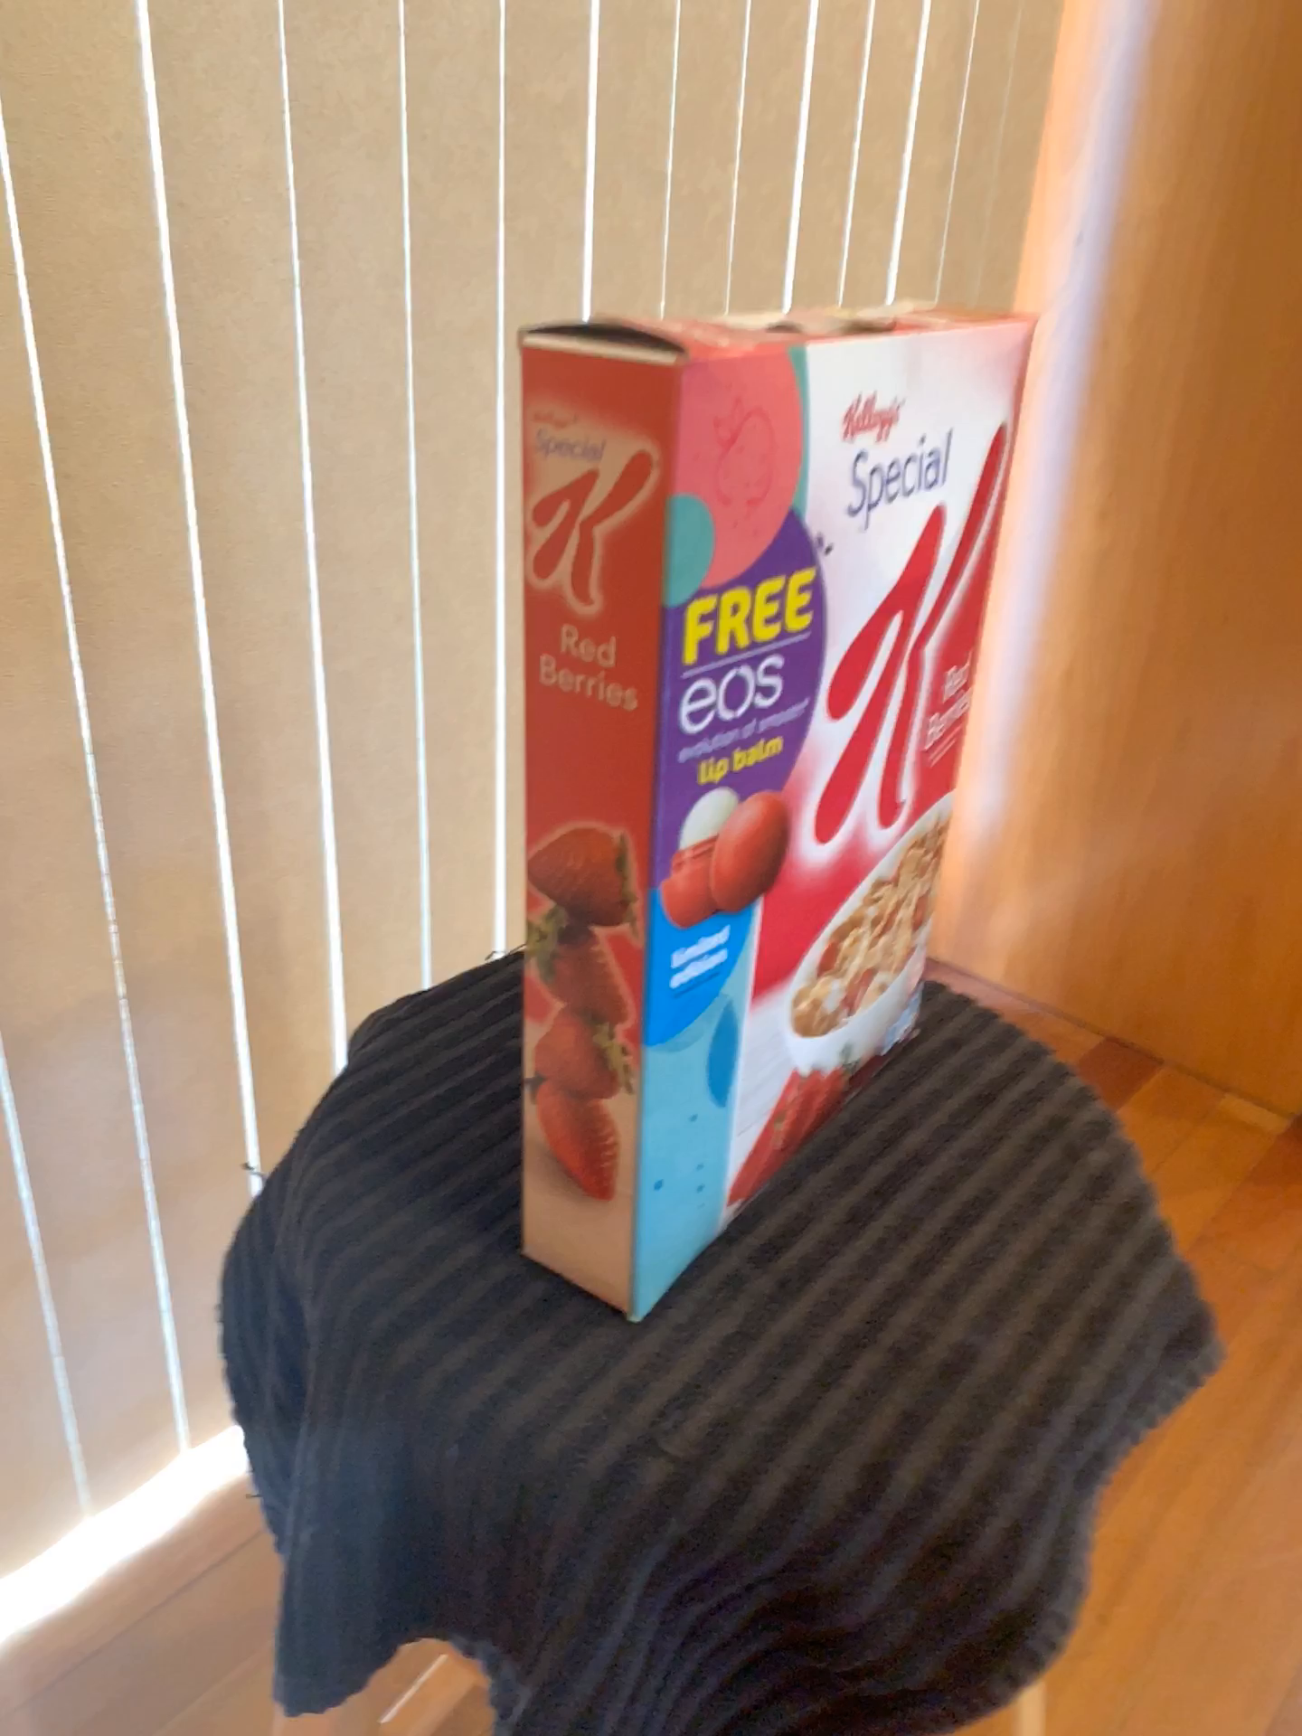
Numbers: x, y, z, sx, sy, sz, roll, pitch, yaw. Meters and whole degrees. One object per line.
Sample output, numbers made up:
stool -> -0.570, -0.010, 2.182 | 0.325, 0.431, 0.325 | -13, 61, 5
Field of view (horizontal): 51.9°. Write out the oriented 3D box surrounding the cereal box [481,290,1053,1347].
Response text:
cereal box -> 0.037, -0.027, 0.412 | 0.050, 0.268, 0.211 | 20, 31, 29
